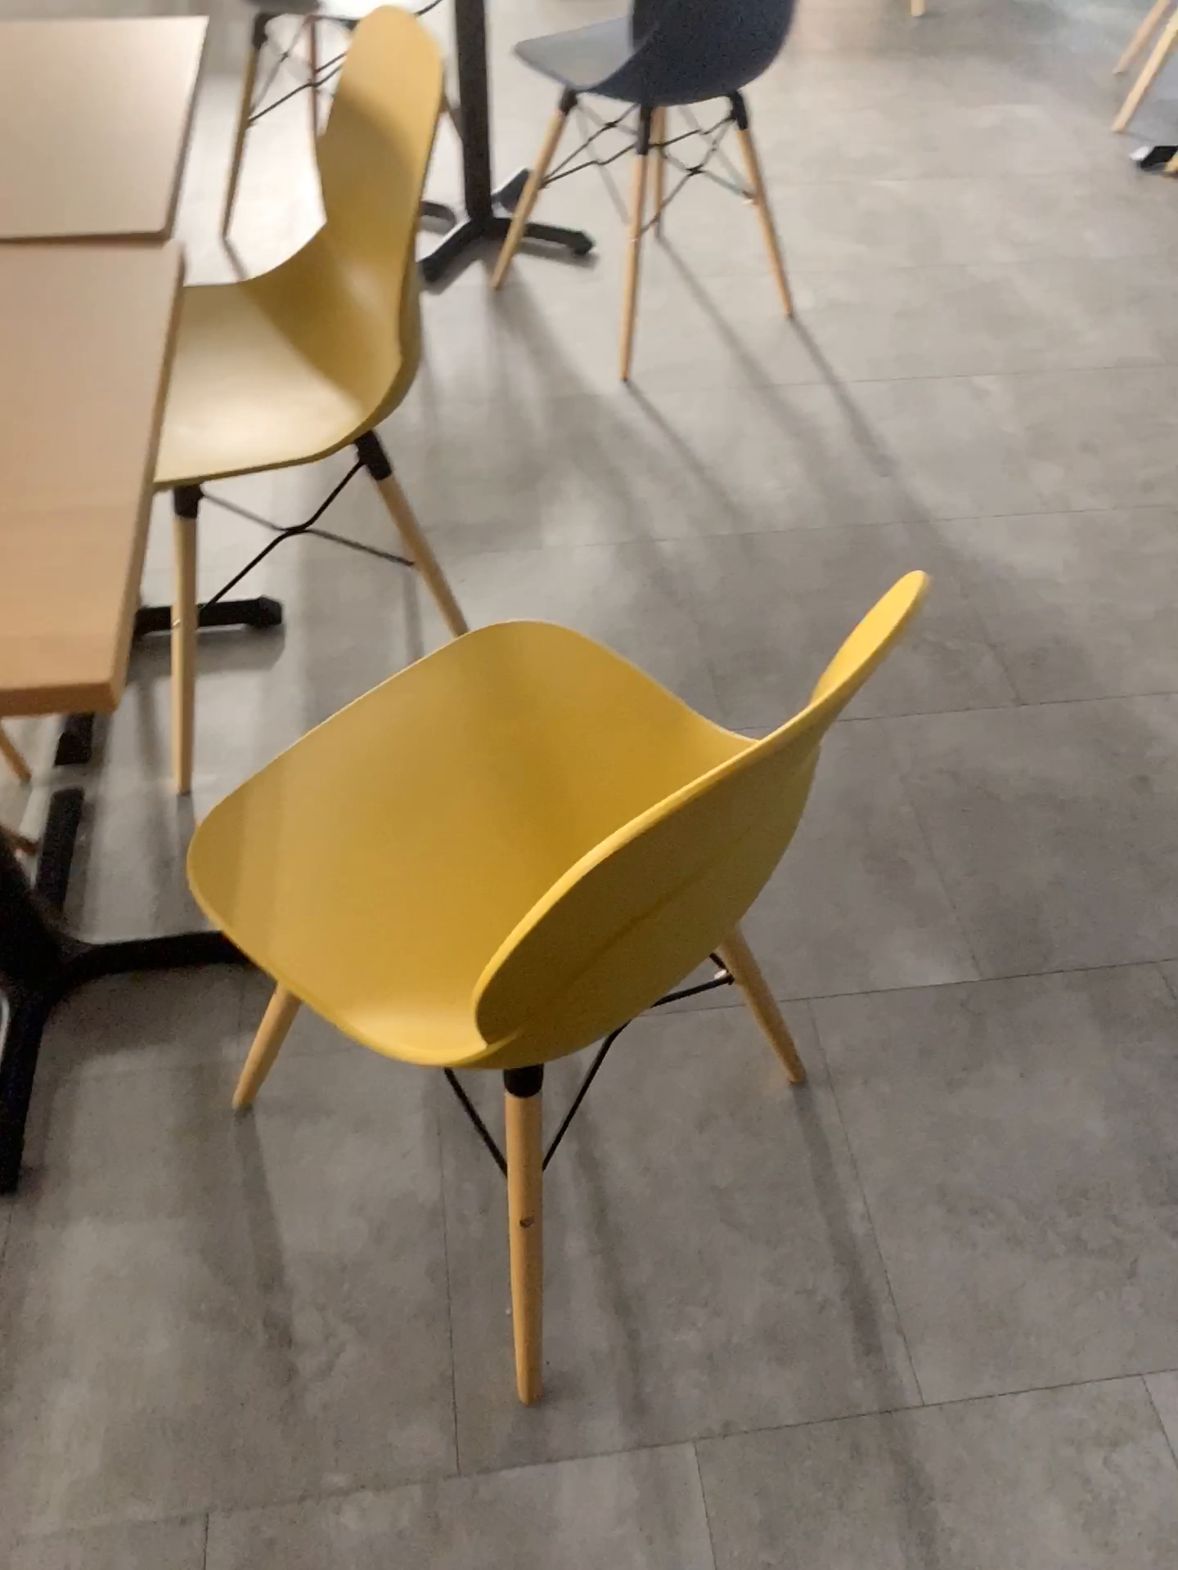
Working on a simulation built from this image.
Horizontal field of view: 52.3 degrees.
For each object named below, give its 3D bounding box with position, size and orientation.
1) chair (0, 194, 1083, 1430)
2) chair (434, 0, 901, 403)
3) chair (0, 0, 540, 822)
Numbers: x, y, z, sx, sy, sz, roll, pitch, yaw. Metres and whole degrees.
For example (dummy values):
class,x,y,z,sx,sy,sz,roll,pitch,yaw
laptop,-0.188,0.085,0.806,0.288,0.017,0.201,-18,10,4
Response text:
class,x,y,z,sx,sy,sz,roll,pitch,yaw
chair,-0.060,0.051,1.034,0.520,0.781,0.519,34,56,25
chair,0.113,-1.250,2.191,0.519,0.781,0.531,-33,57,-27
chair,-0.409,-0.469,1.480,0.530,0.781,0.520,-19,52,-17
